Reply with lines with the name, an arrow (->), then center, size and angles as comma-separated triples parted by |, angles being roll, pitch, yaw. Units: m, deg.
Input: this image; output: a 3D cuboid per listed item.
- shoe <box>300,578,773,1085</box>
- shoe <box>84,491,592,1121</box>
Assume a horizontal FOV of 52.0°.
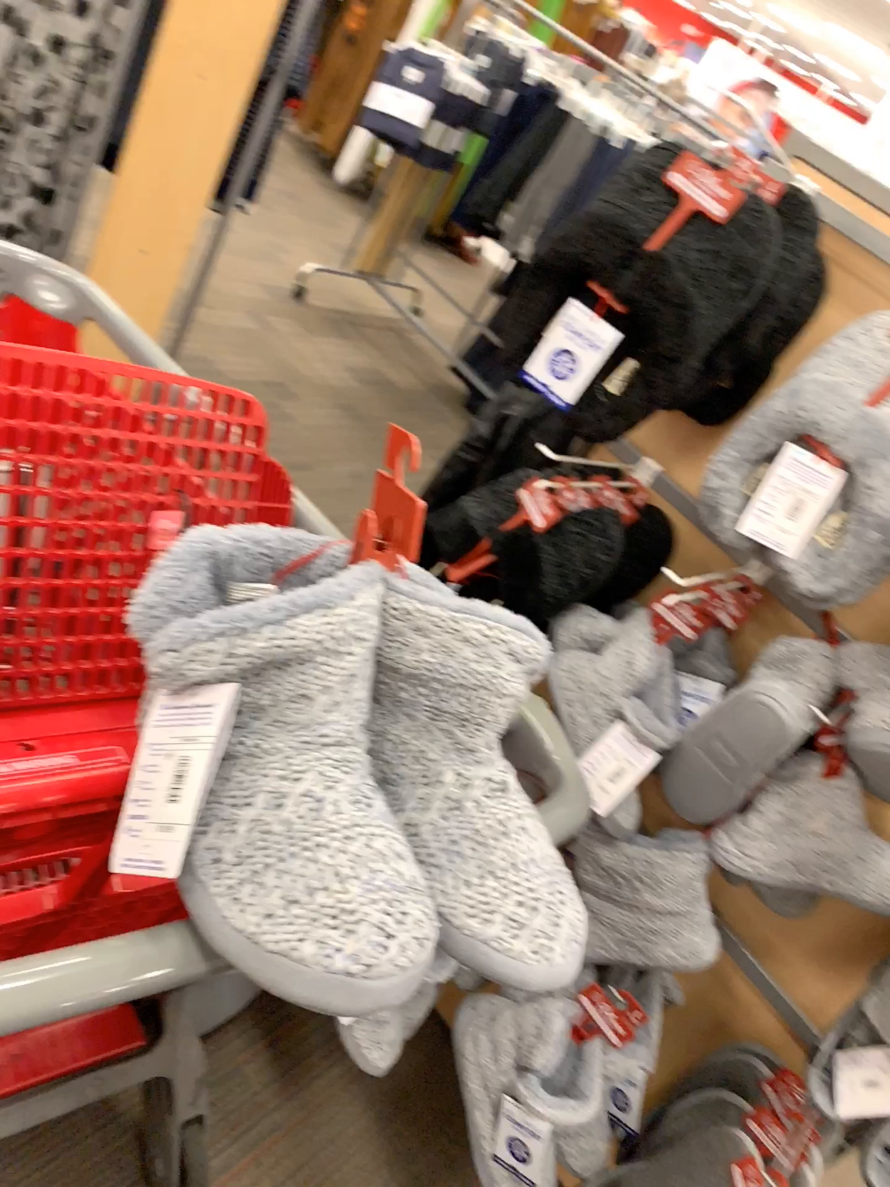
shoe -> 0.035, 0.112, 0.504 | 0.110, 0.119, 0.230 | 3, 37, -41
shoe -> -0.072, 0.083, 0.451 | 0.110, 0.139, 0.250 | 3, 37, -41
